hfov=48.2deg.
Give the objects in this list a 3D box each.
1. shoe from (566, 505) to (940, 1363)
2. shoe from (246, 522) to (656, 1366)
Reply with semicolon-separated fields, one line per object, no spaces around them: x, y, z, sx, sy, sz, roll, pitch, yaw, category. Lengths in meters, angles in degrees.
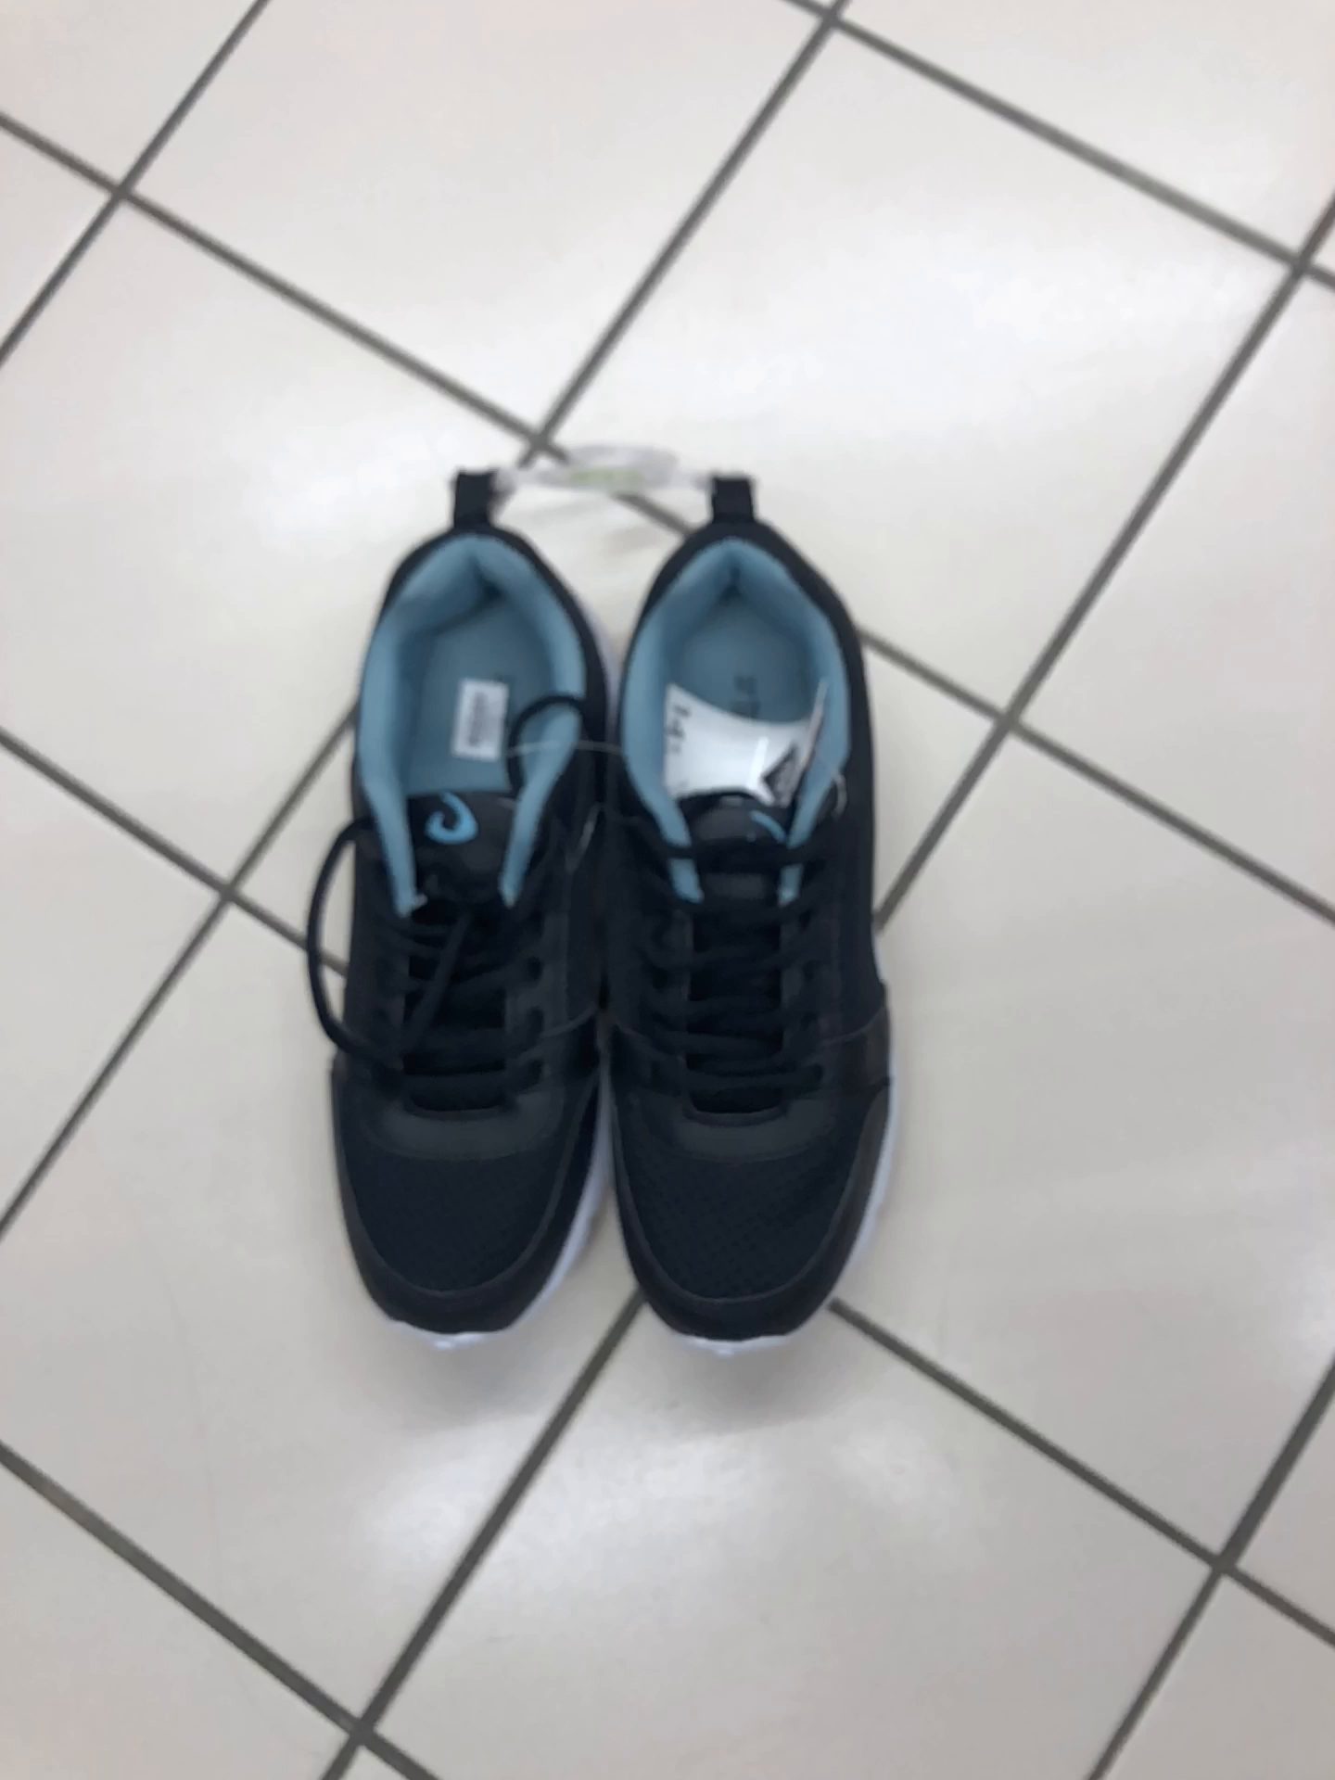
0.027;0.016;0.473;0.100;0.110;0.240;-1;81;5;shoe
-0.061;0.019;0.478;0.100;0.100;0.240;-1;81;9;shoe
